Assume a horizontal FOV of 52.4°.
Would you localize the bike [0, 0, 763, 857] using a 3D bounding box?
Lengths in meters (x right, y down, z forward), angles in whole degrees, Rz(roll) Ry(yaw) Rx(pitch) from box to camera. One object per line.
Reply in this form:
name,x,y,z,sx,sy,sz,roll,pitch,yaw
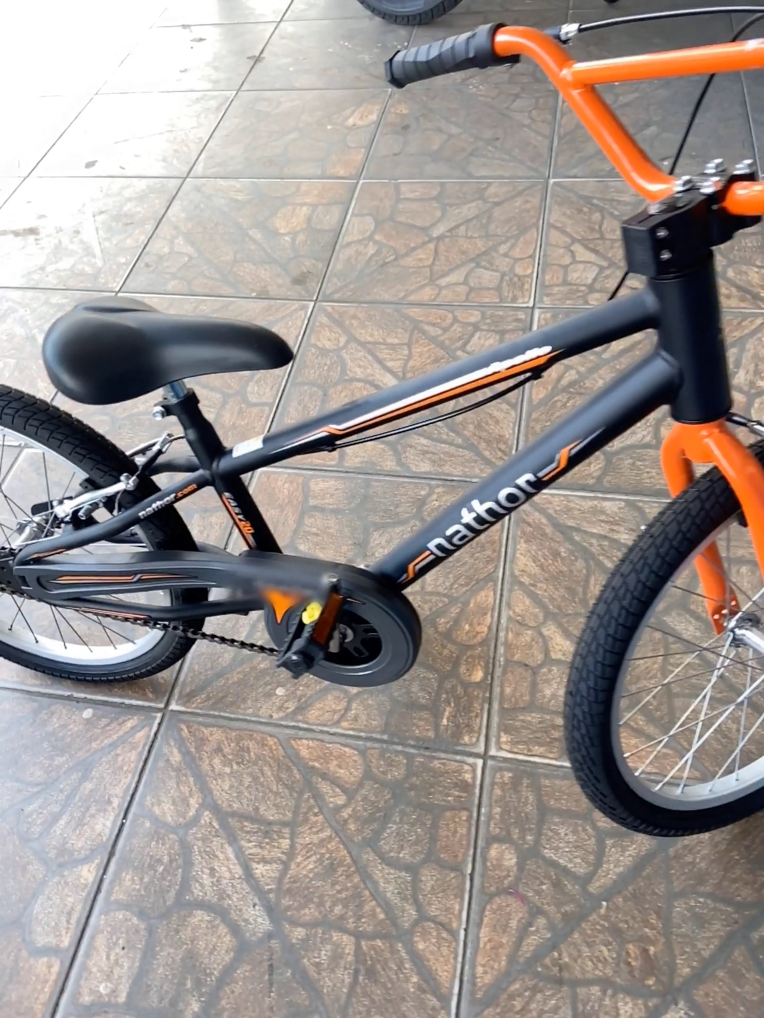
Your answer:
bike,-0.055,-0.146,0.861,1.349,0.980,0.726,1,53,6
